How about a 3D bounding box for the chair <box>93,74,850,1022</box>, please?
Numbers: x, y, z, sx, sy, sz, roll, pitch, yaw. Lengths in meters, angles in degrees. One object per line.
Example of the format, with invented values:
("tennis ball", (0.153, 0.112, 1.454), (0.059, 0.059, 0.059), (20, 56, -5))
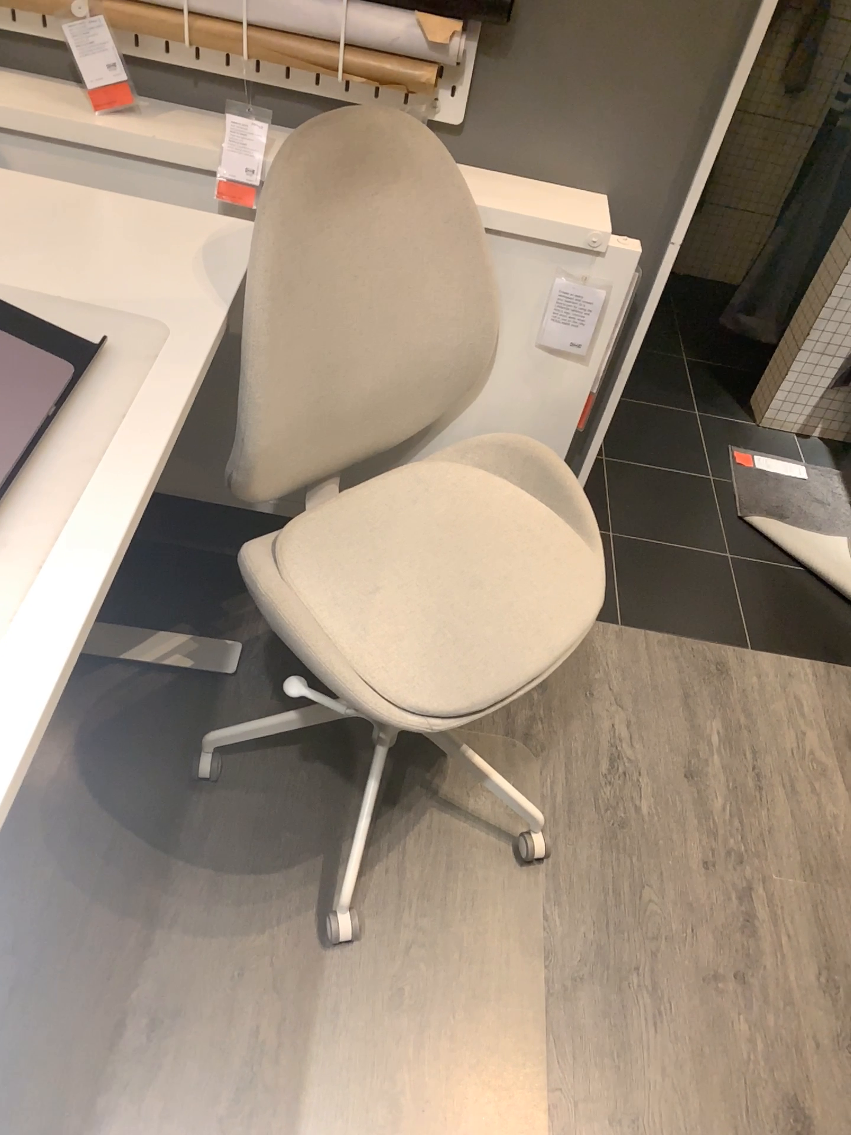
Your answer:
("chair", (0.037, -0.006, 1.121), (0.611, 0.937, 0.591), (-23, 55, -30))
